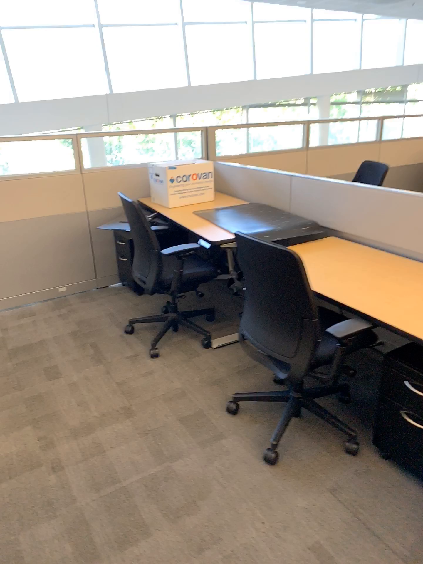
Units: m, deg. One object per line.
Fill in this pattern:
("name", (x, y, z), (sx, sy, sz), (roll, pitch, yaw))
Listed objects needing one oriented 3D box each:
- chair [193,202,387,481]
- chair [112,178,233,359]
("chair", (0.319, 0.216, 1.942), (0.580, 0.995, 0.523), (-14, 25, -28))
("chair", (-0.251, -0.124, 2.869), (0.600, 0.995, 0.563), (-10, 23, -21))
